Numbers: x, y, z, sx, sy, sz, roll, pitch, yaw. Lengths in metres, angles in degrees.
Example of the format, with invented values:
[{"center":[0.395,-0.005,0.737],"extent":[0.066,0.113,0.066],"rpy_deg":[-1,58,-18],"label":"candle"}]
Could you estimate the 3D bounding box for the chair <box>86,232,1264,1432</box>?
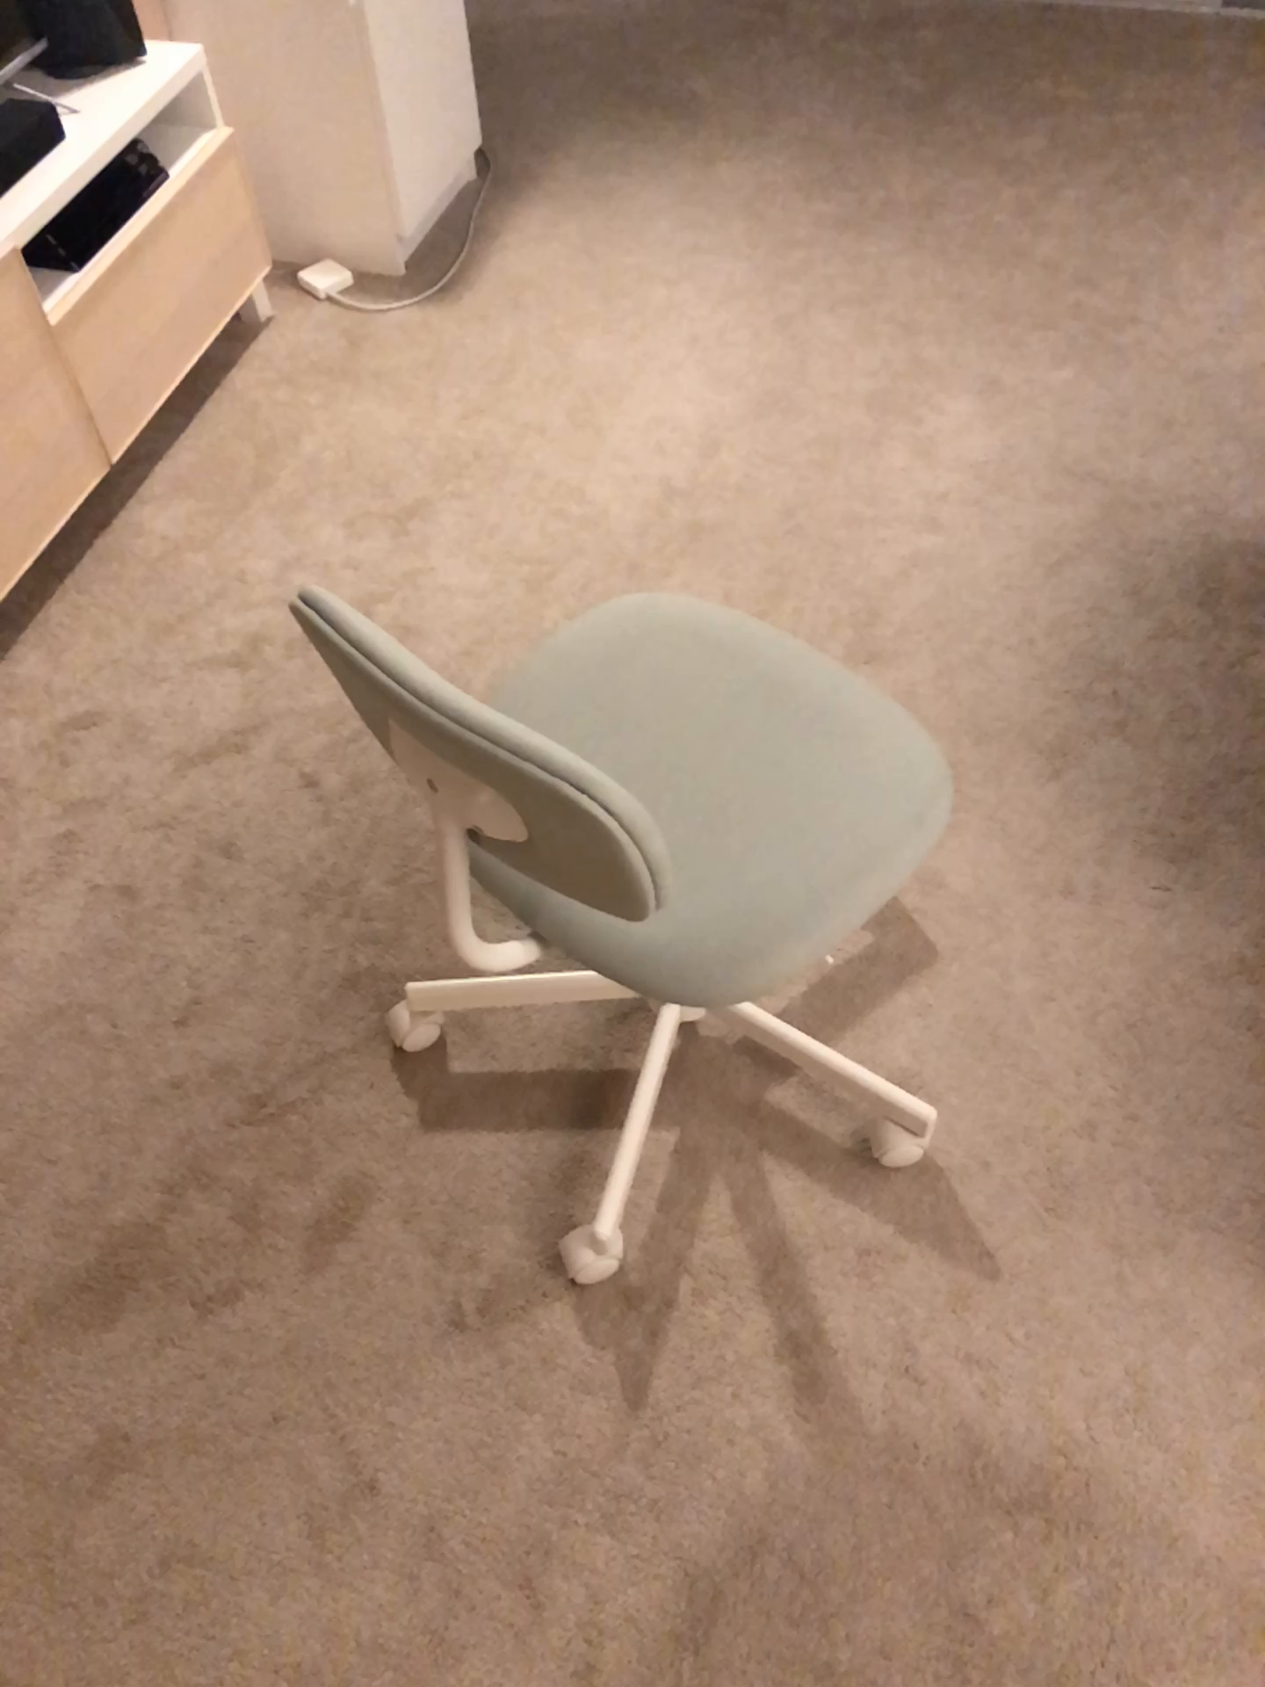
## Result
[{"center":[0.048,-0.021,1.314],"extent":[0.642,0.677,0.661],"rpy_deg":[-37,58,-23],"label":"chair"}]
